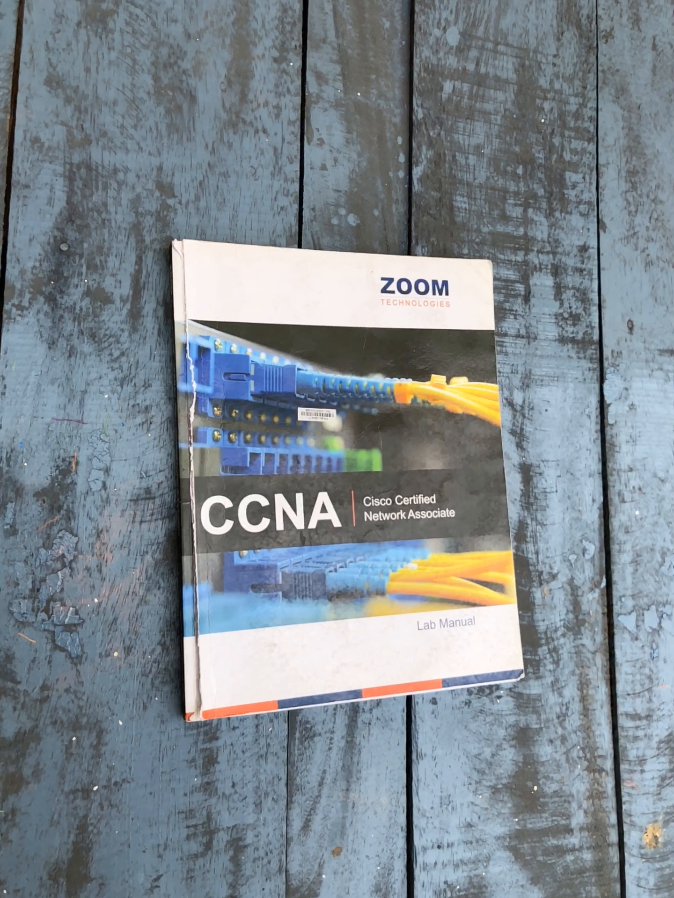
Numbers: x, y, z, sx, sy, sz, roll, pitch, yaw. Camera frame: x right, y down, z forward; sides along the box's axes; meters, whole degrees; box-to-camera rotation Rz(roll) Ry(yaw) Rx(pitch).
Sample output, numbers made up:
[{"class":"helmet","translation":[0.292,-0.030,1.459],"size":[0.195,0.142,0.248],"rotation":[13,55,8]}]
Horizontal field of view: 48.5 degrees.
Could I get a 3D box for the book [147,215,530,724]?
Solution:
[{"class":"book","translation":[0.000,0.004,0.424],"size":[0.200,0.030,0.260],"rotation":[-1,81,-18]}]
